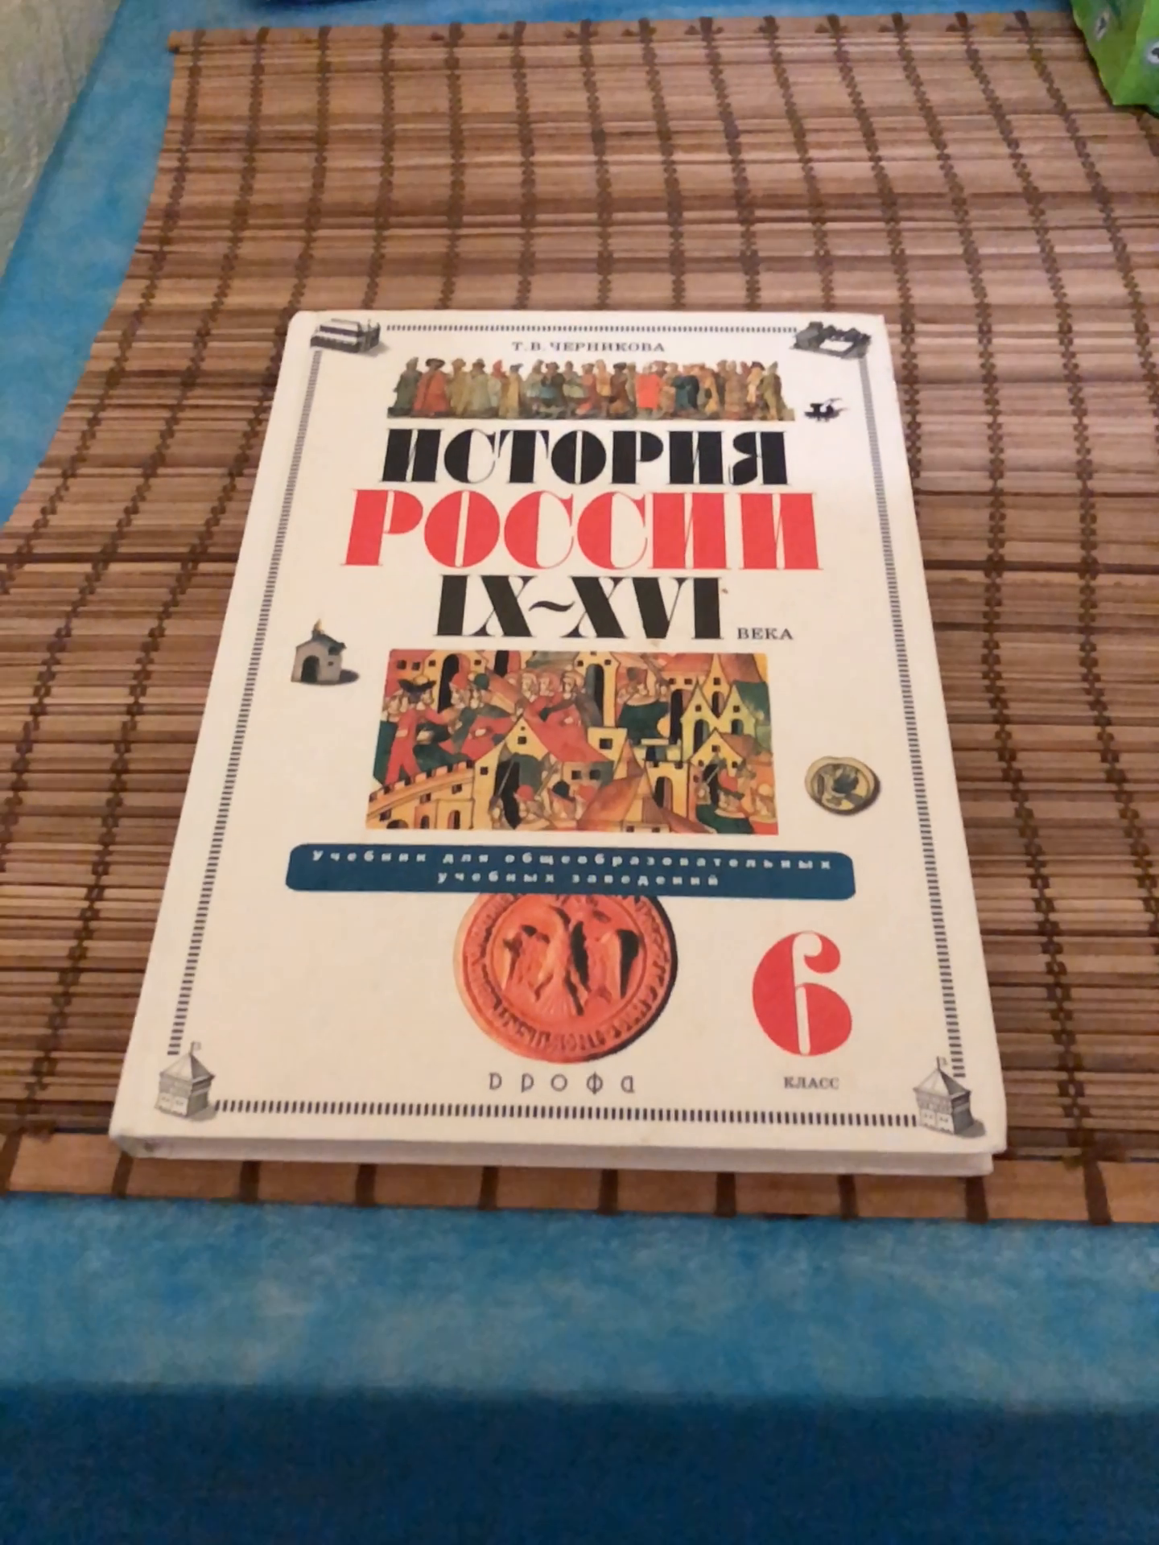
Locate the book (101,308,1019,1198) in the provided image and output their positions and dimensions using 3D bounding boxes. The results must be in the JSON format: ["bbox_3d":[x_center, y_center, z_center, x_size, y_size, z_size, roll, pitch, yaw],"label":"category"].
[{"bbox_3d":[-0.001,-0.025,0.314,0.169,0.029,0.241,1,57,2],"label":"book"}]
